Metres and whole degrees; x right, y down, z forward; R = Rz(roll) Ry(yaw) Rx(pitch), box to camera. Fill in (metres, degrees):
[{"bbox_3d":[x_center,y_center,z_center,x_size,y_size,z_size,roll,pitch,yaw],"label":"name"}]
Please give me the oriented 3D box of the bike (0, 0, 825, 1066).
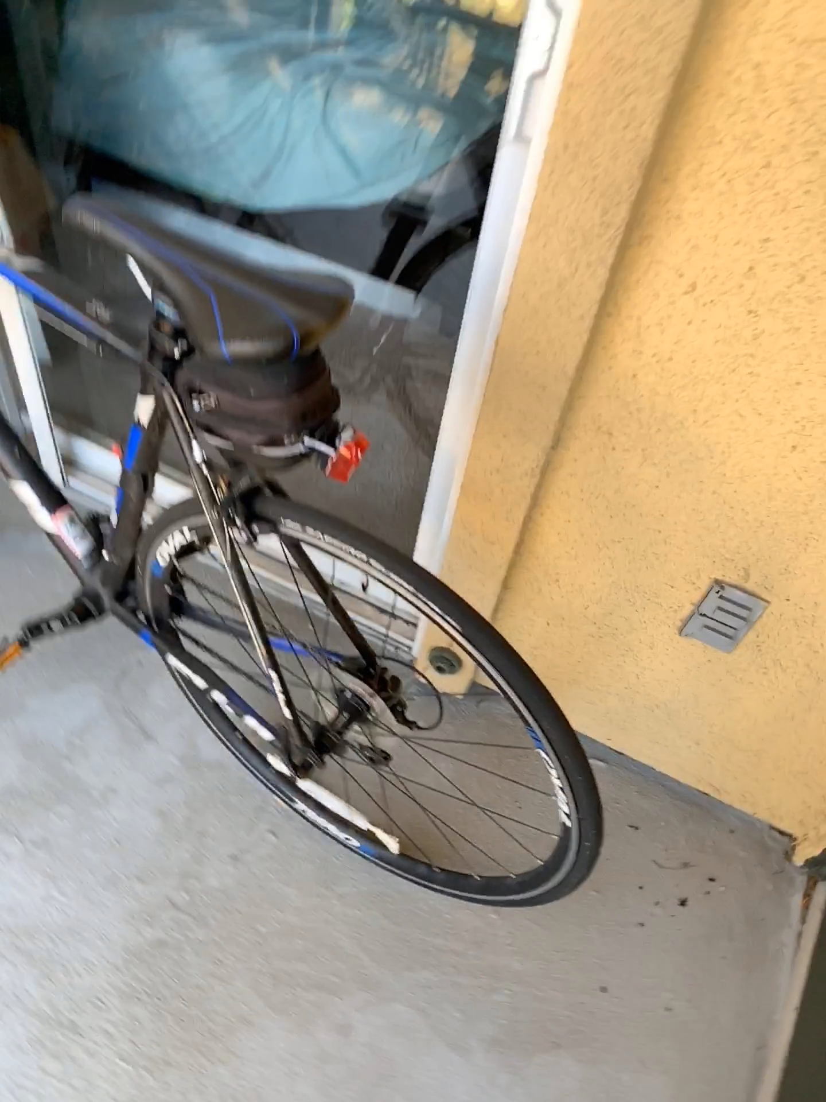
[{"bbox_3d":[-0.414,-0.133,0.984,1.502,0.933,0.363,31,53,11],"label":"bike"}]
